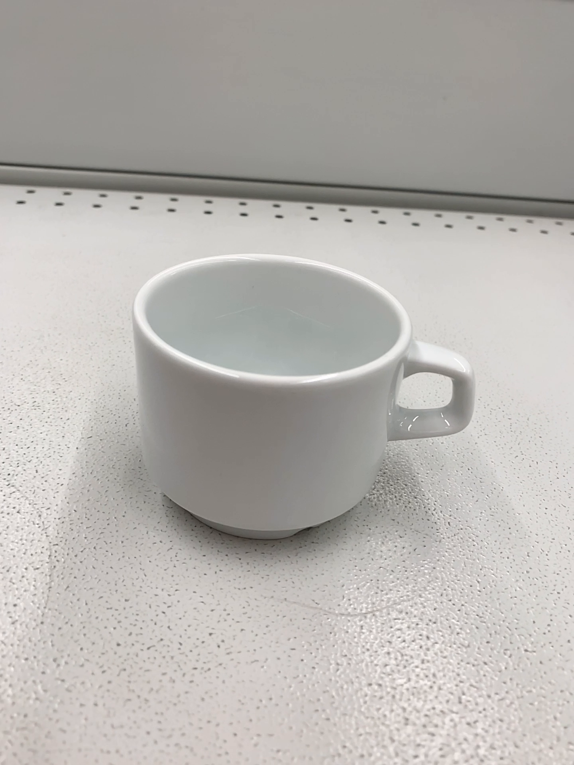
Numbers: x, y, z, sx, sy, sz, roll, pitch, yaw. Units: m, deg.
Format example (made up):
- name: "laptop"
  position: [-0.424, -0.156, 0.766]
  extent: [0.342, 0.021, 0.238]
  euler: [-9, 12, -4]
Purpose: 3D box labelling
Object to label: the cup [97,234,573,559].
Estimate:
- name: "cup"
  position: [0.008, 0.000, 0.181]
  extent: [0.105, 0.056, 0.082]
  euler: [3, 33, -5]
